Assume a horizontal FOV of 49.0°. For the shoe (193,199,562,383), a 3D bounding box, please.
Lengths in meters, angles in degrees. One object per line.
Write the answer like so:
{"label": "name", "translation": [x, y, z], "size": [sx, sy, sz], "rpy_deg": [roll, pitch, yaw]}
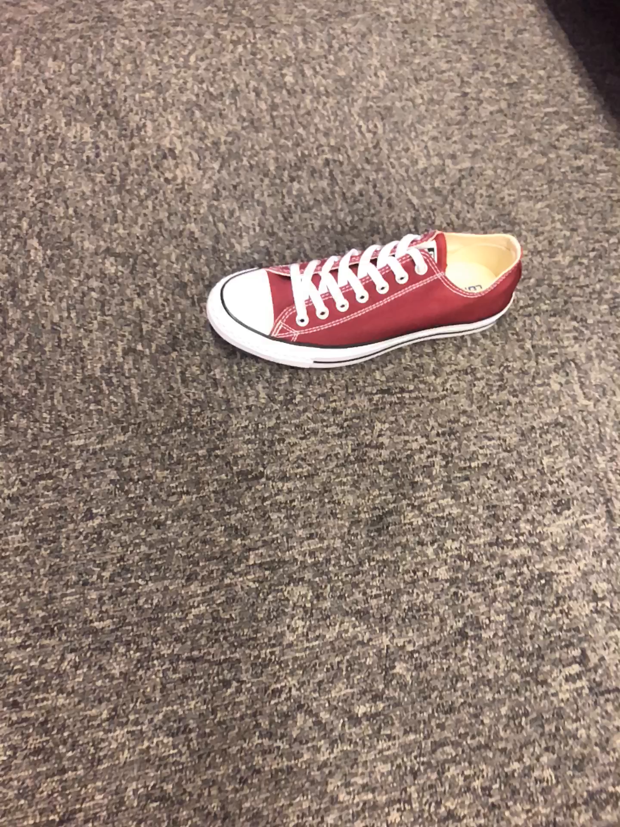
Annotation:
{"label": "shoe", "translation": [0.049, -0.105, 0.577], "size": [0.280, 0.090, 0.100], "rpy_deg": [-6, 63, -9]}
